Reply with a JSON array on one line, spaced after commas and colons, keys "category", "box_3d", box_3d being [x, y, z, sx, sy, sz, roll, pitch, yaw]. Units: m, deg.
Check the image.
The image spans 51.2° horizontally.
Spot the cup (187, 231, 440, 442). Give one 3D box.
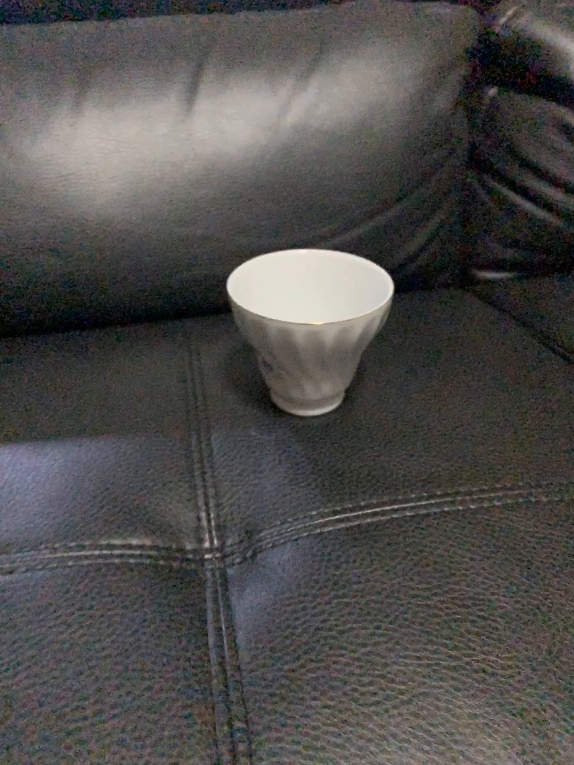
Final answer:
[{"category": "cup", "box_3d": [0.008, -0.034, 0.337, 0.094, 0.059, 0.114, -13, 35, -23]}]
